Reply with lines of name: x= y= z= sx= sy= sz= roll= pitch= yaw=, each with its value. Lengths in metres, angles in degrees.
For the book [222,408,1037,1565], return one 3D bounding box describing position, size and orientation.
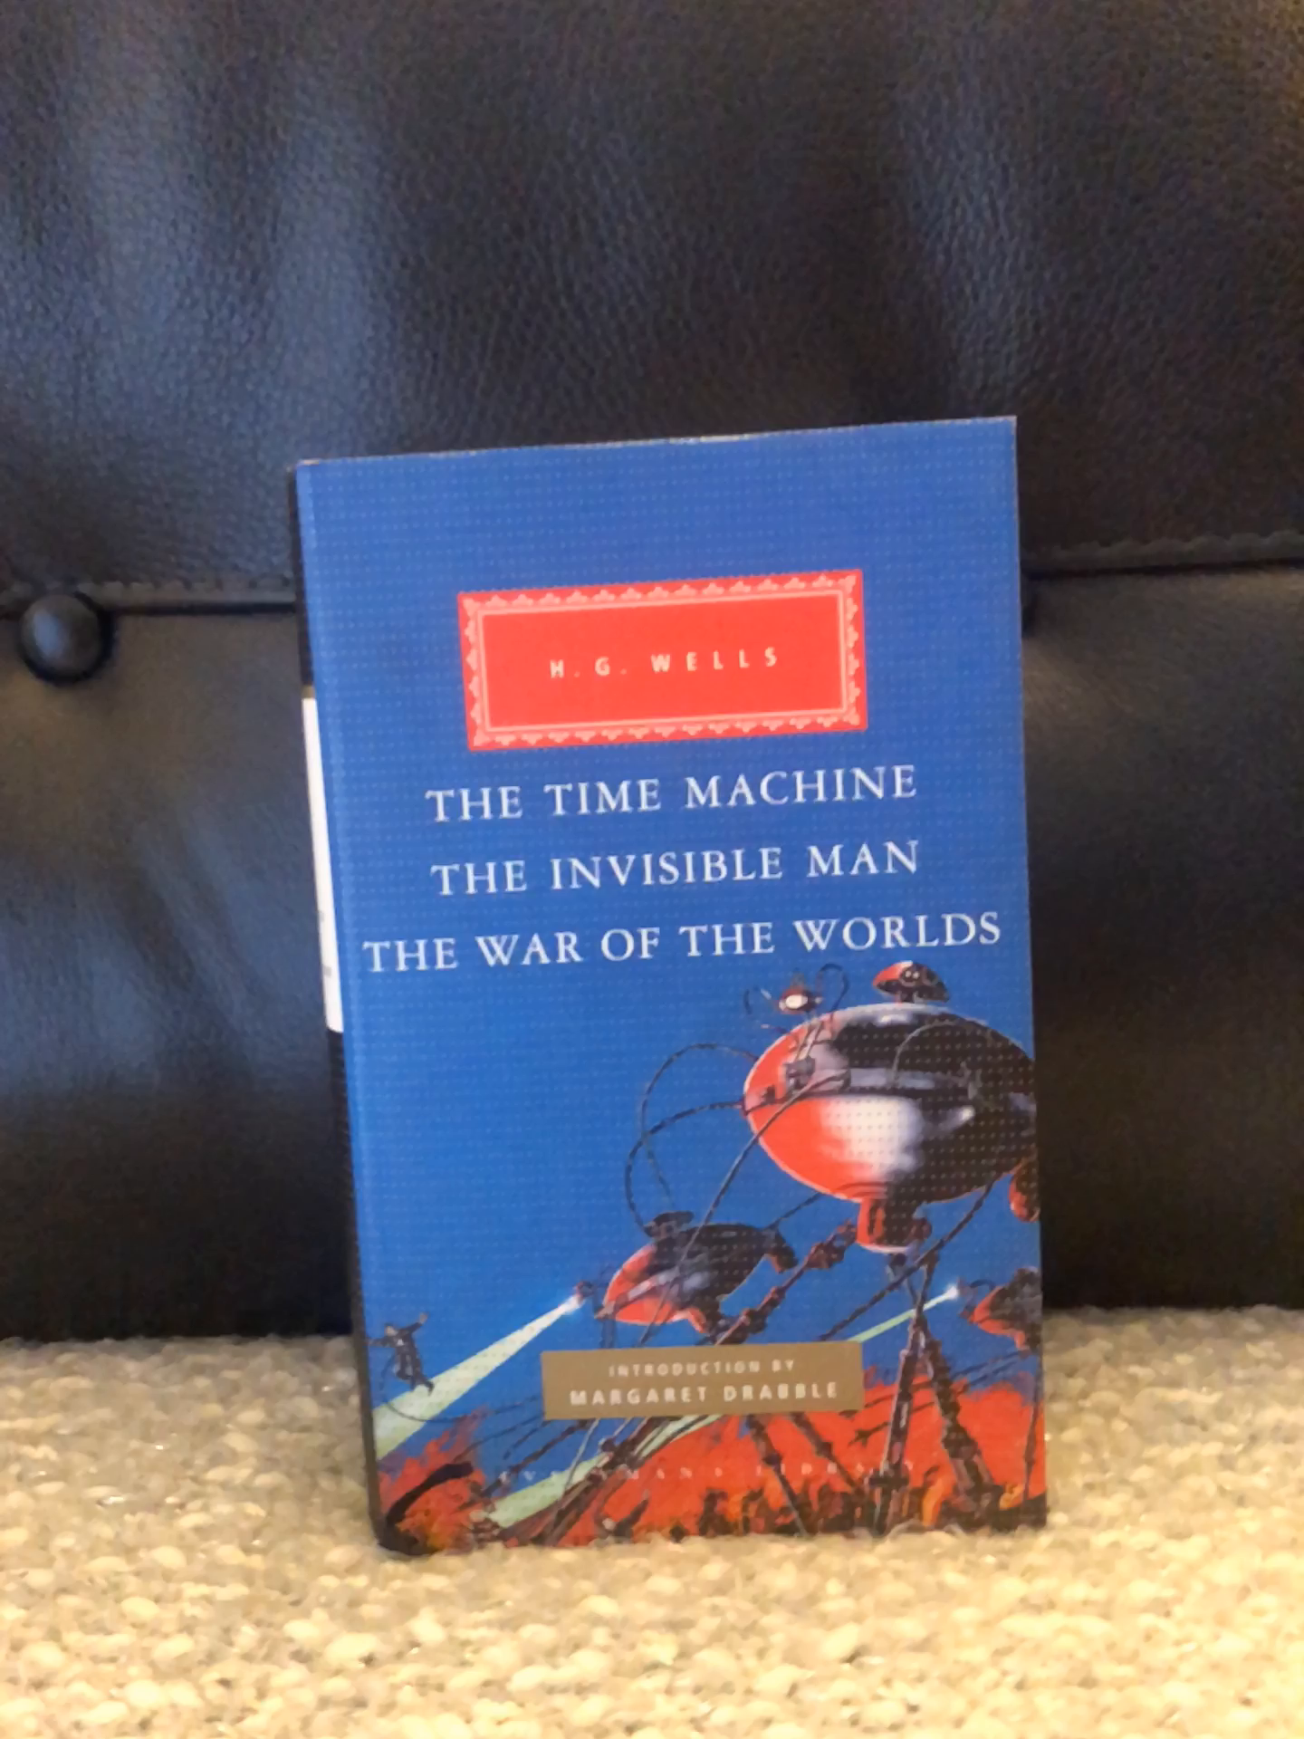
book: x=-0.001 y=0.027 z=0.306 sx=0.148 sy=0.226 sz=0.034 roll=-4 pitch=7 yaw=0
